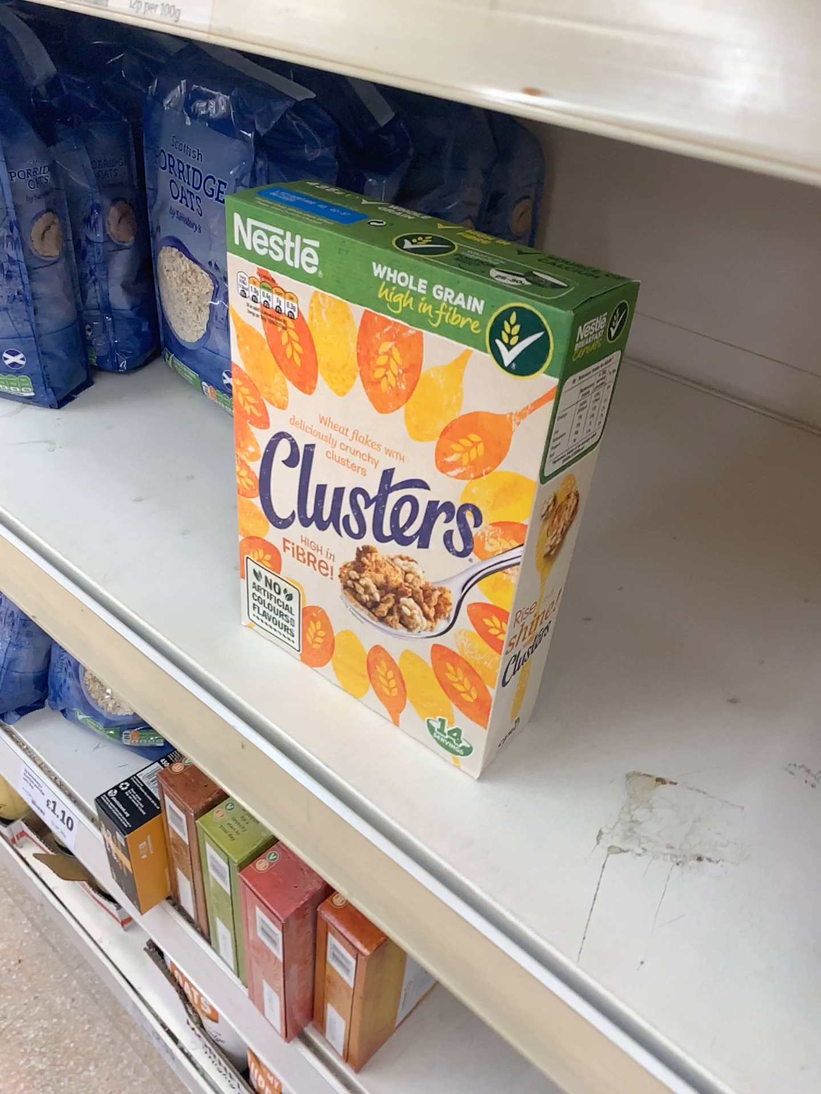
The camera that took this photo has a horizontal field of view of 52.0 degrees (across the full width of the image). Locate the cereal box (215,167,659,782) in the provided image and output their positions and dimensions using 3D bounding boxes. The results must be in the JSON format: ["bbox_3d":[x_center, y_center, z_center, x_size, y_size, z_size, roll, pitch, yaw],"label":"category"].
[{"bbox_3d":[-0.007,-0.034,0.449,0.201,0.267,0.060,28,41,27],"label":"cereal box"}]
